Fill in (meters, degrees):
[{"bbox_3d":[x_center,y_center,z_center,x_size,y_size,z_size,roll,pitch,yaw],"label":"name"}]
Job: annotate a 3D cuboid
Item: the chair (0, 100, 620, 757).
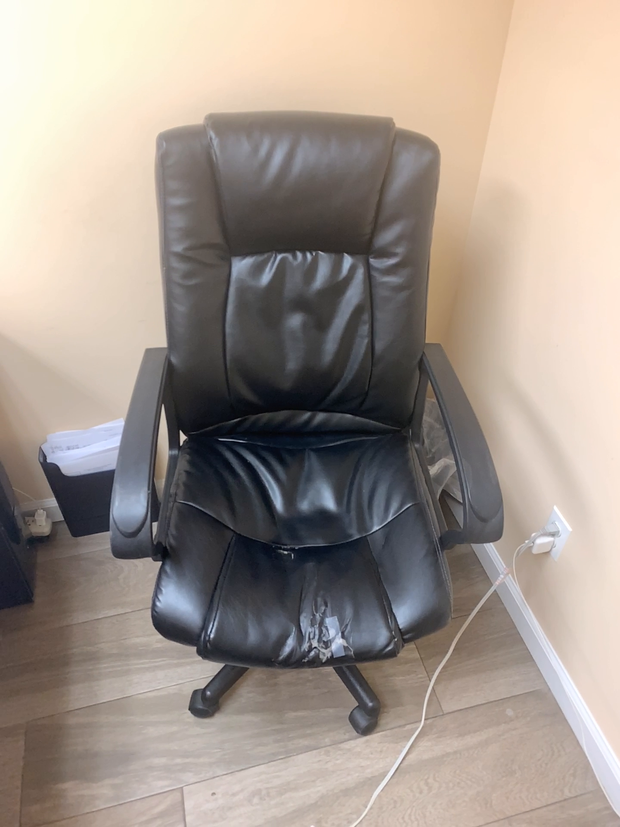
[{"bbox_3d":[0.007,0.089,1.182,0.648,1.083,0.630,0,40,-2],"label":"chair"}]
